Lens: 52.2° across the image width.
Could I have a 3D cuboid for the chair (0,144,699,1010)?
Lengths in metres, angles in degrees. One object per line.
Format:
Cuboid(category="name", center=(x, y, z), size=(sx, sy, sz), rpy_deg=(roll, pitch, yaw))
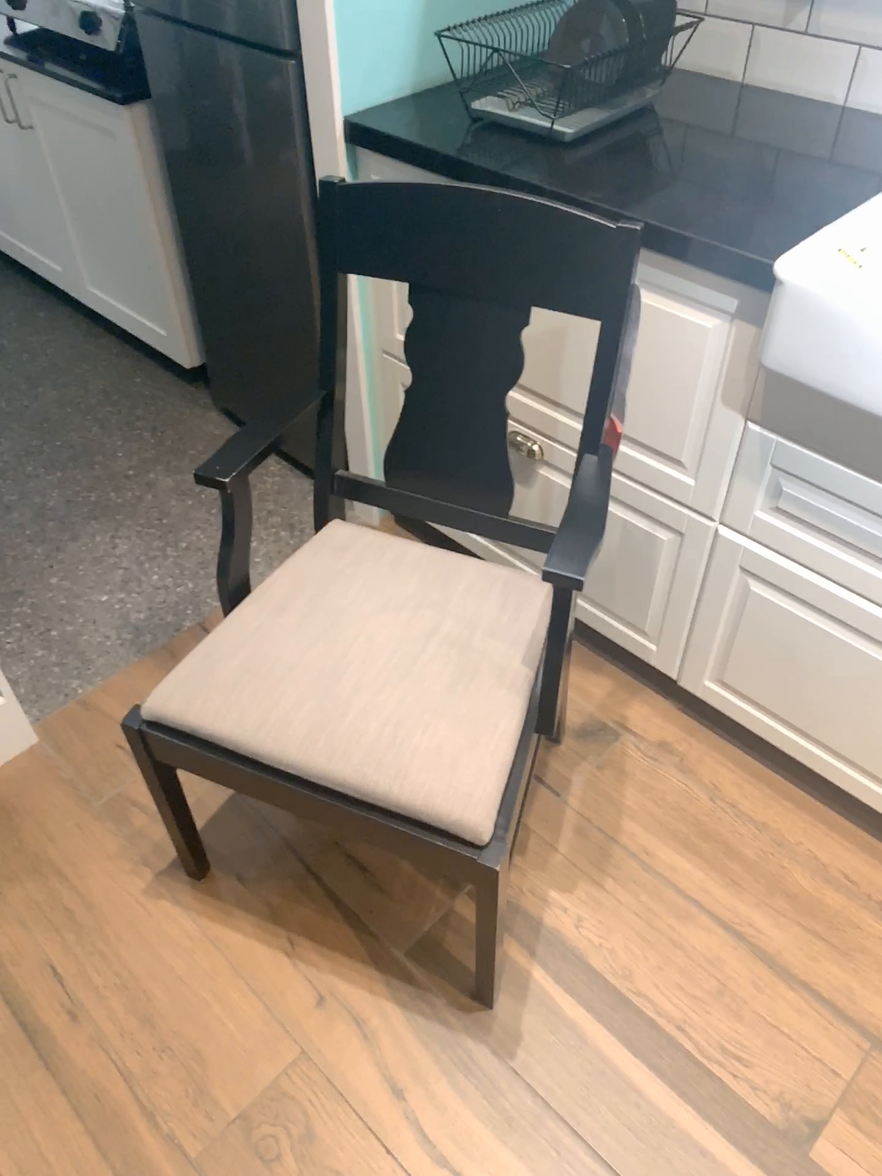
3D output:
Cuboid(category="chair", center=(-0.080, 0.000, 1.217), size=(0.571, 0.887, 0.592), rpy_deg=(16, 47, 17))
